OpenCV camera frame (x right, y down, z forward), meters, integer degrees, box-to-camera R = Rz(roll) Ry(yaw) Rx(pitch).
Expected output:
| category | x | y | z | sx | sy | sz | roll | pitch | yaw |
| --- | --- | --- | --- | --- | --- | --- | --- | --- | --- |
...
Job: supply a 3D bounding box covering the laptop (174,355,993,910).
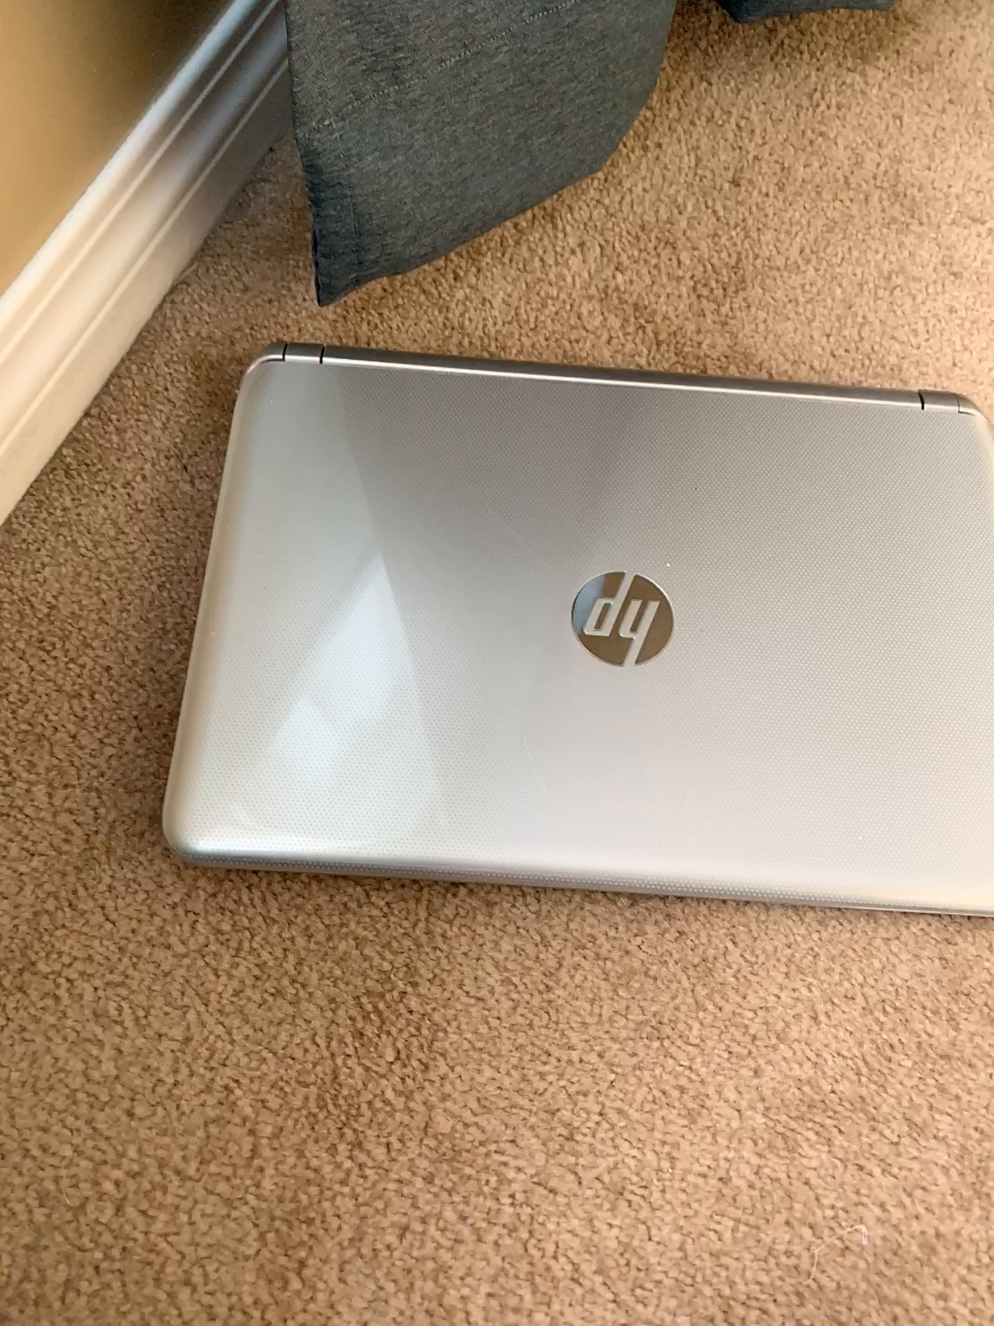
| category | x | y | z | sx | sy | sz | roll | pitch | yaw |
| --- | --- | --- | --- | --- | --- | --- | --- | --- | --- |
| laptop | 0.051 | -0.024 | 0.419 | 0.328 | 0.002 | 0.223 | 4 | 67 | 0 |
